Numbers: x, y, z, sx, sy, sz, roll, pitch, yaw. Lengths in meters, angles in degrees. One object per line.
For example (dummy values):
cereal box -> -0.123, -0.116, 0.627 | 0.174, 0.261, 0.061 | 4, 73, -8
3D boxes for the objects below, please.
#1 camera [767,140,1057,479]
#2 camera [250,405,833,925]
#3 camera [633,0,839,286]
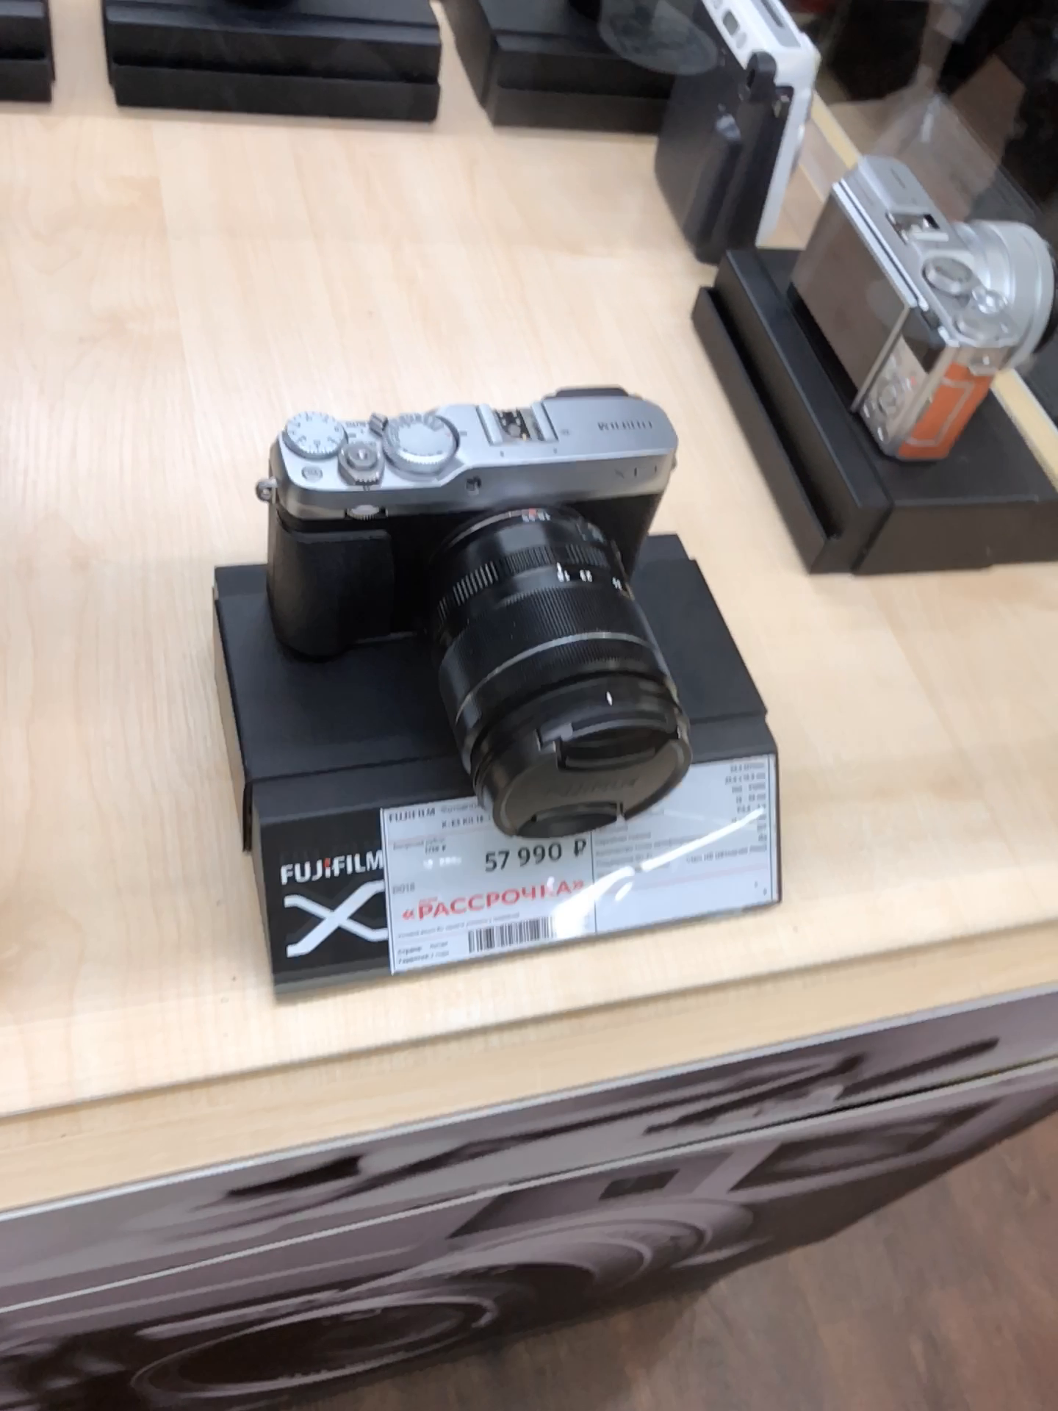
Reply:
camera -> 0.170, -0.168, 0.496 | 0.077, 0.068, 0.132 | -5, 56, -17
camera -> -0.007, -0.016, 0.344 | 0.131, 0.080, 0.116 | -7, 56, -18
camera -> 0.096, -0.280, 0.576 | 0.045, 0.109, 0.088 | -6, 56, -15
